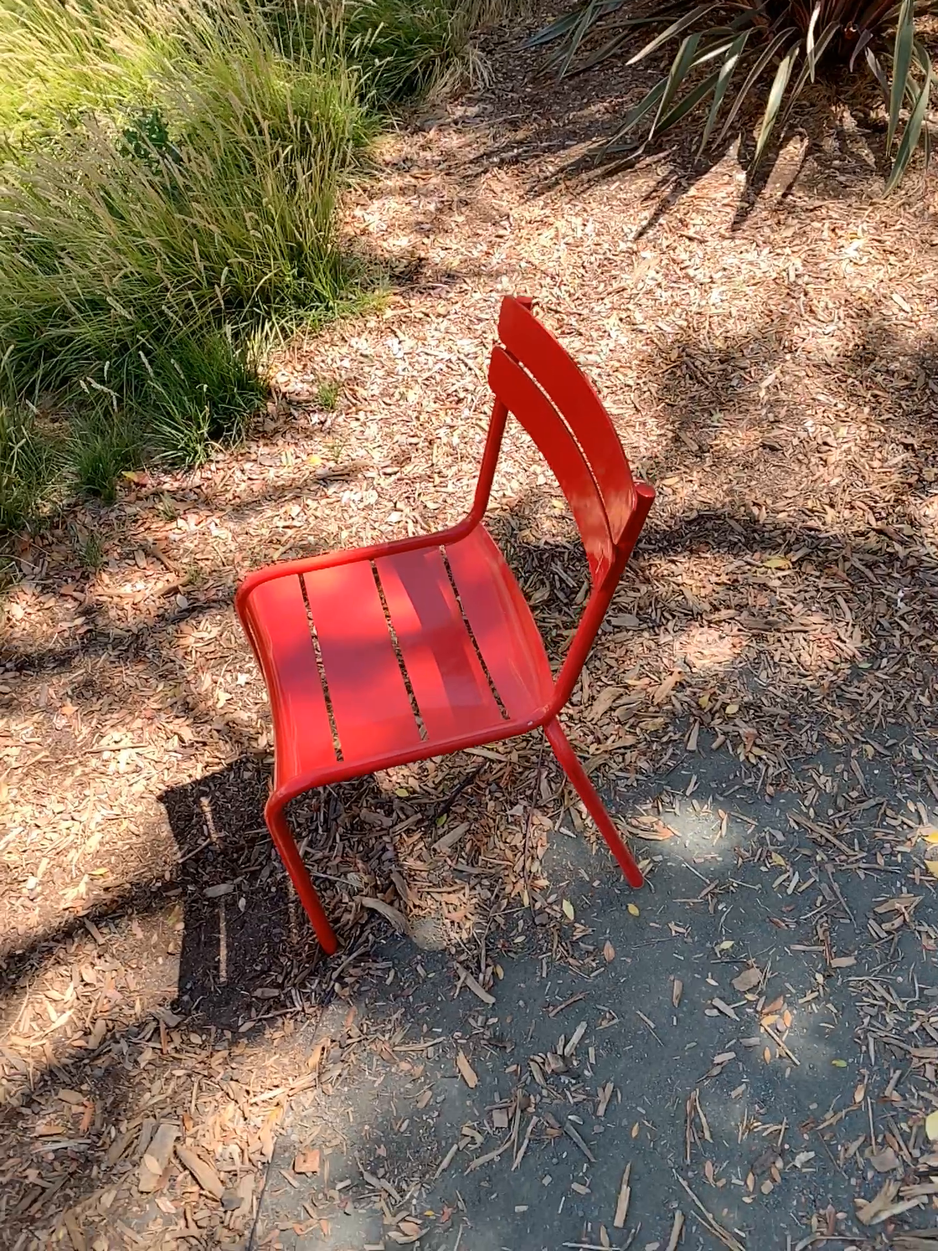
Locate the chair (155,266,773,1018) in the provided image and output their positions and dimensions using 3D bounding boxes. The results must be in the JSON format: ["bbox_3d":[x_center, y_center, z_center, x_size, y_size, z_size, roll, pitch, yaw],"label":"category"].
[{"bbox_3d":[-0.058,0.027,1.378,0.570,0.785,0.614,-11,46,-11],"label":"chair"}]
